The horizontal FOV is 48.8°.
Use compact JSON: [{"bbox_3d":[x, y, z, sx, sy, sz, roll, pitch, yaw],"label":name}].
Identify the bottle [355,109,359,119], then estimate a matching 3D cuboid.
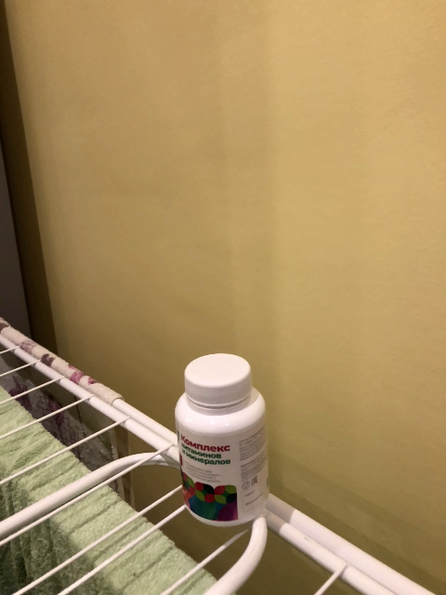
[{"bbox_3d":[3.928,-5.372,14.392,0.075,0.257,0.076,-2,18,1],"label":"bottle"}]
